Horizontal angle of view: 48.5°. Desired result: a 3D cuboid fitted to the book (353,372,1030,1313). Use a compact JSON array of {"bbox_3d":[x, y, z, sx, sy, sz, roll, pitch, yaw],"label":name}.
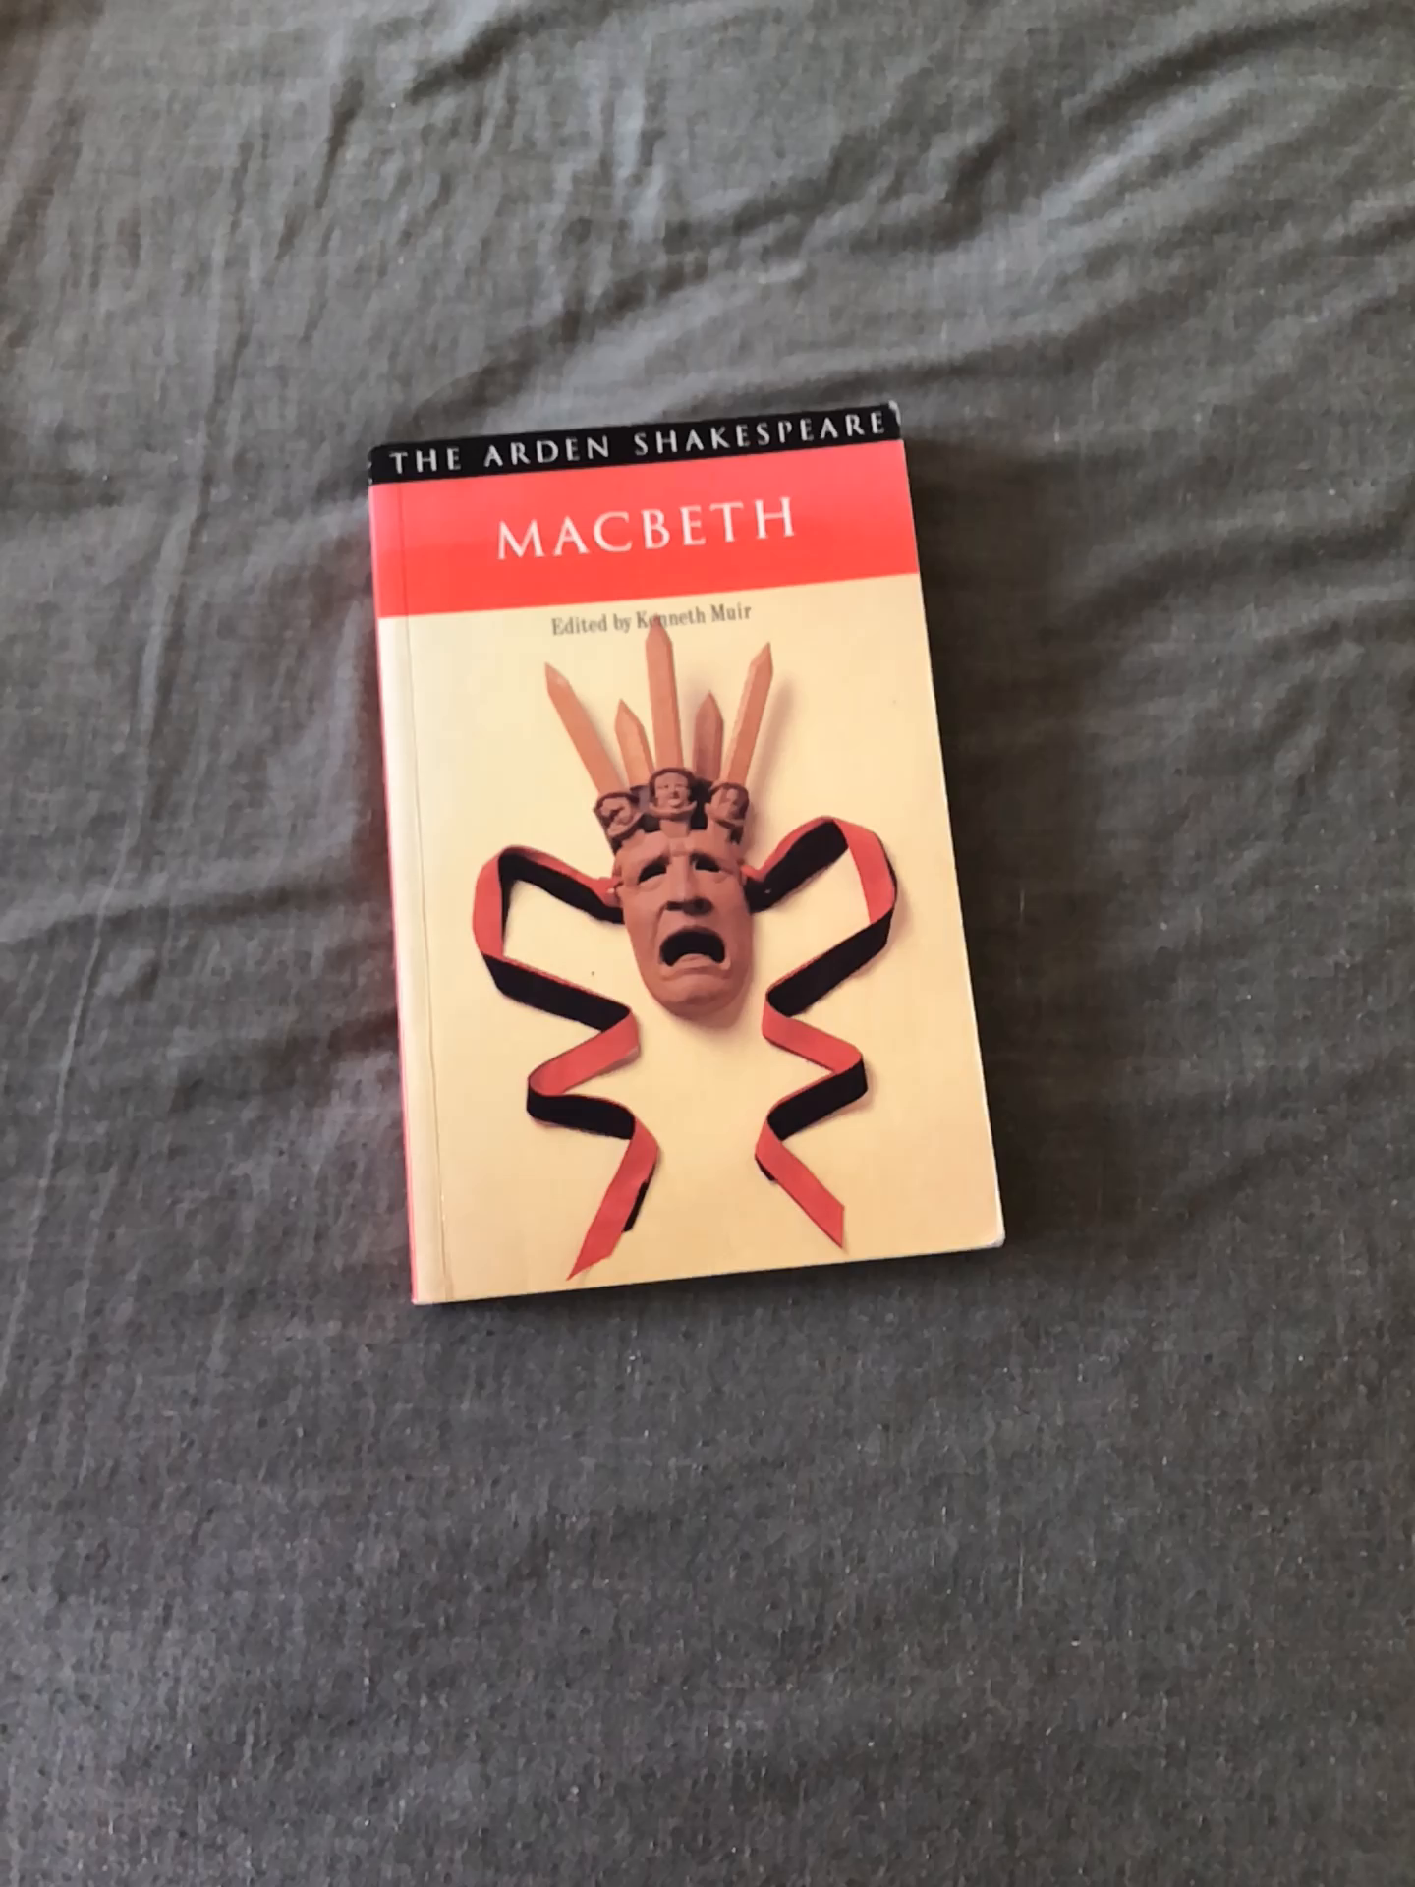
[{"bbox_3d":[-0.008,-0.026,0.349,0.130,0.020,0.200,-5,77,0],"label":"book"}]
